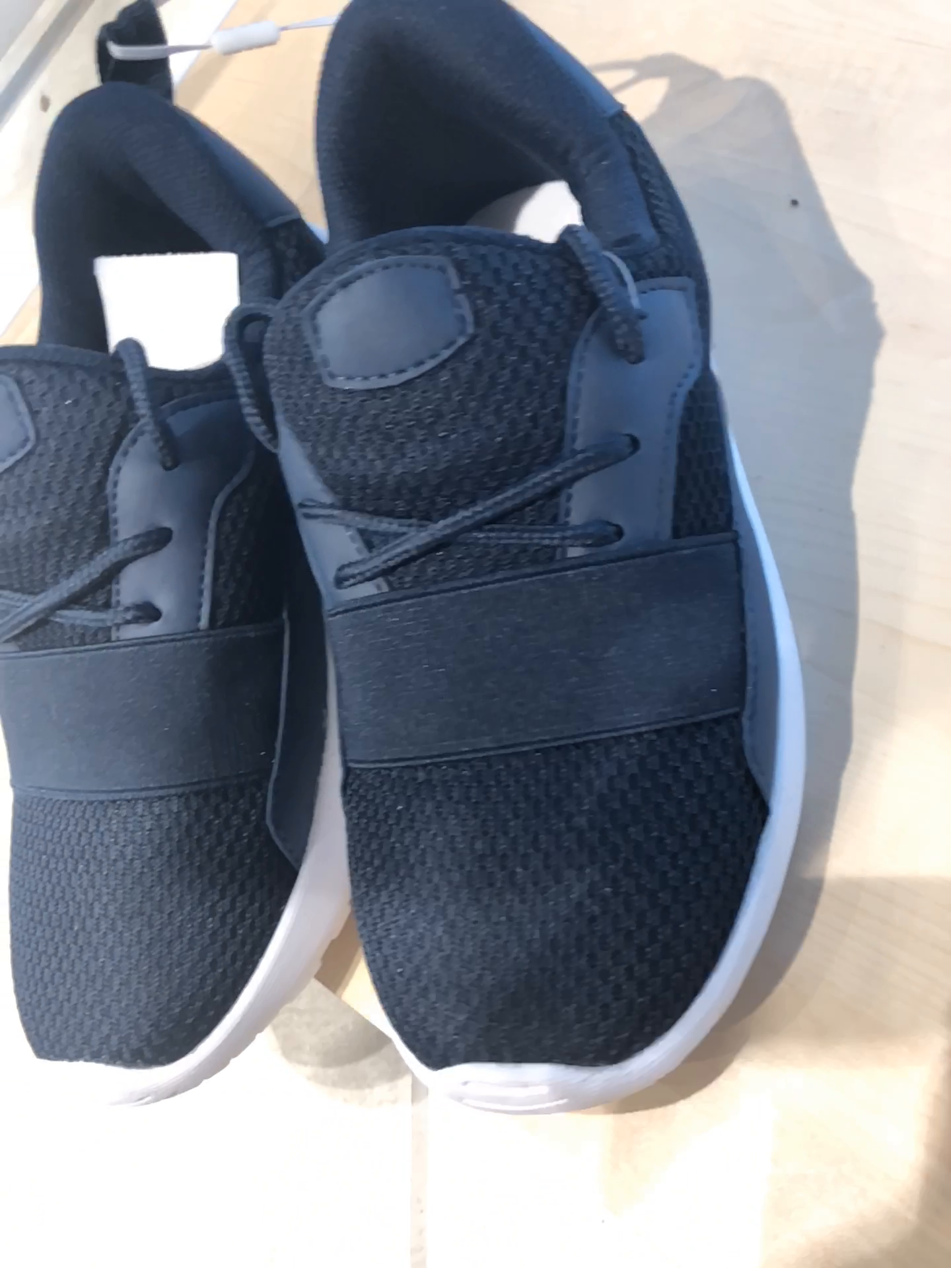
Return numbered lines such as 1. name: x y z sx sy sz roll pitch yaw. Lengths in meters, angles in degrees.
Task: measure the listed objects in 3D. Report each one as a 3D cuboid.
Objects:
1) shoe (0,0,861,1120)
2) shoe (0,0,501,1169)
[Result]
1. shoe: 0.000 -0.036 0.211 0.100 0.100 0.241 -11 63 22
2. shoe: -0.066 -0.019 0.244 0.090 0.100 0.240 -4 66 25
